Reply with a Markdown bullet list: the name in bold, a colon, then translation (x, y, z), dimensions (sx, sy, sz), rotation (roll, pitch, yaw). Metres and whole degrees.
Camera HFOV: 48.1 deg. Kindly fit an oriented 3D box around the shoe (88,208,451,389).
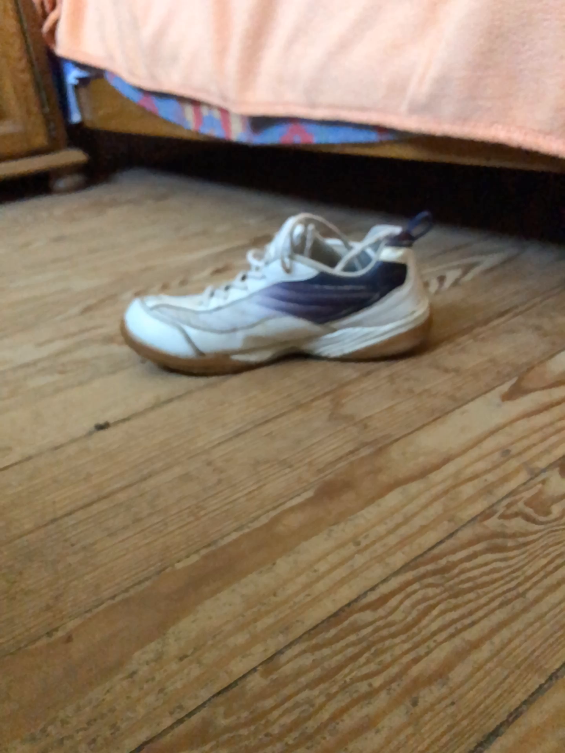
- **shoe**: translation (-0.004, -0.066, 0.520), dimensions (0.260, 0.099, 0.111), rotation (-3, 26, 7)
